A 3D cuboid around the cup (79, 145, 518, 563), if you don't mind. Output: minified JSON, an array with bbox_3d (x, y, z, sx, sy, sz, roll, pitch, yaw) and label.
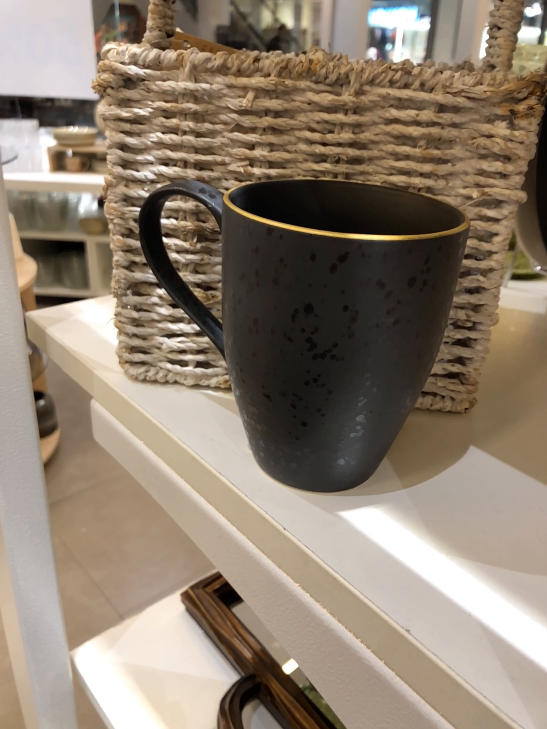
[{"bbox_3d":[0.004,-0.018,0.221,0.120,0.099,0.080,23,33,36],"label":"cup"}]
